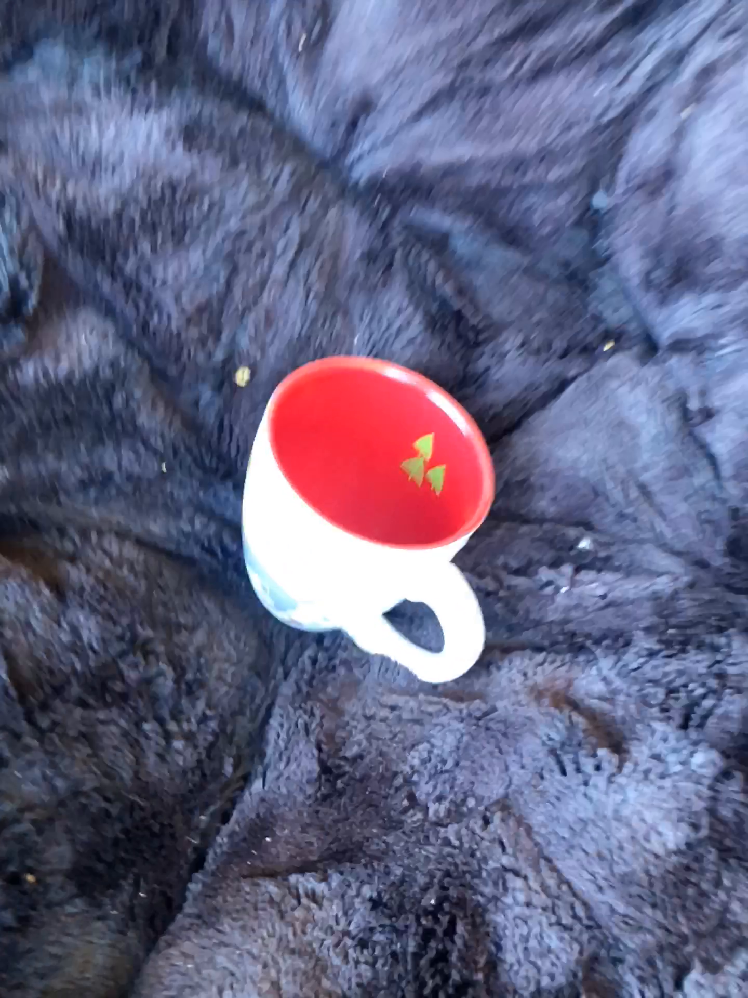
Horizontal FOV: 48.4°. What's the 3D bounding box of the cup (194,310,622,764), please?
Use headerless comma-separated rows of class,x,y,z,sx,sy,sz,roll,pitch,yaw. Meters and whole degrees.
cup,0.005,0.016,0.374,0.100,0.110,0.140,-28,68,-32
